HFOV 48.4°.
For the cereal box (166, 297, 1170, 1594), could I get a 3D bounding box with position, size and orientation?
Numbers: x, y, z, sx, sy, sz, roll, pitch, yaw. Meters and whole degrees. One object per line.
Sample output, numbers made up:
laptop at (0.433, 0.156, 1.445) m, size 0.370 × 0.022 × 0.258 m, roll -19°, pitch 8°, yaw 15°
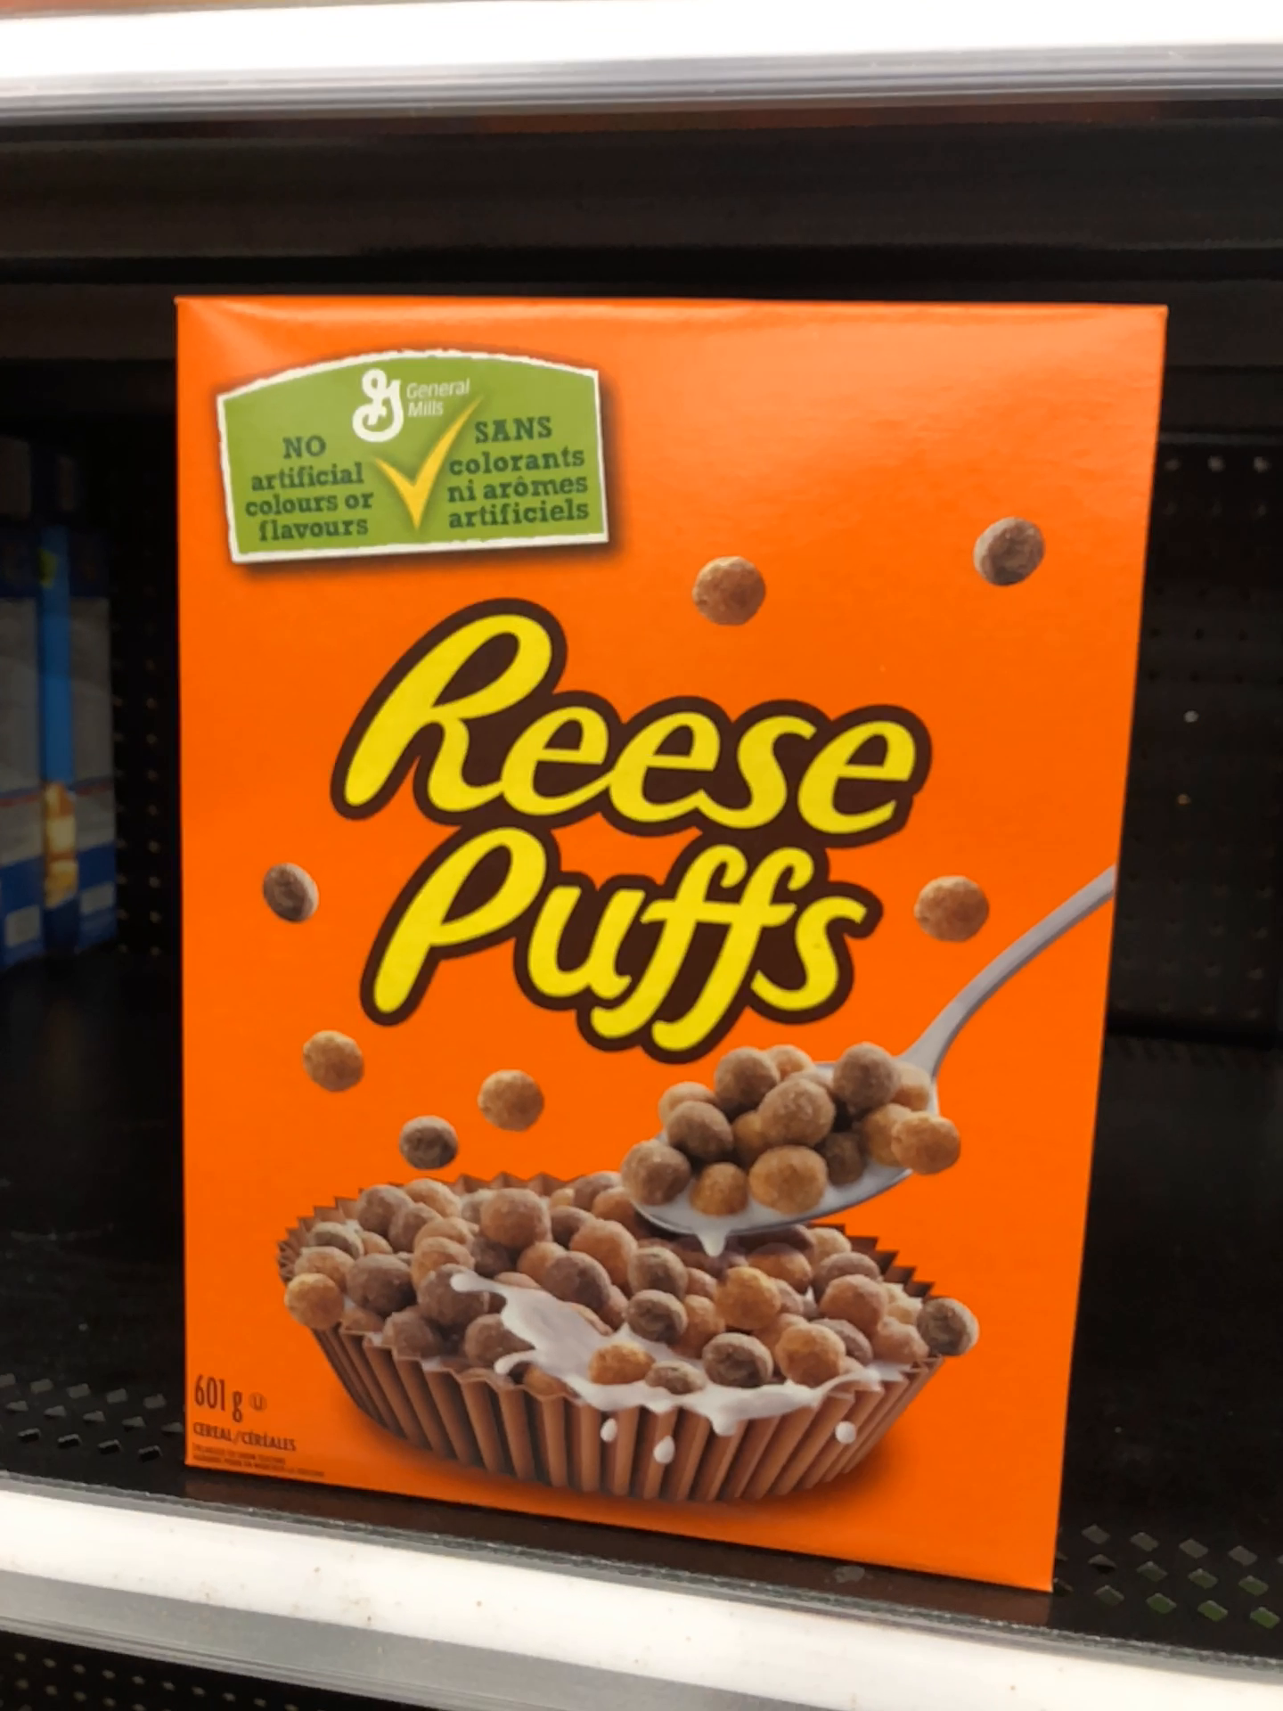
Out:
cereal box at (0.000, 0.020, 0.397) m, size 0.240 × 0.319 × 0.070 m, roll 3°, pitch 9°, yaw 9°
